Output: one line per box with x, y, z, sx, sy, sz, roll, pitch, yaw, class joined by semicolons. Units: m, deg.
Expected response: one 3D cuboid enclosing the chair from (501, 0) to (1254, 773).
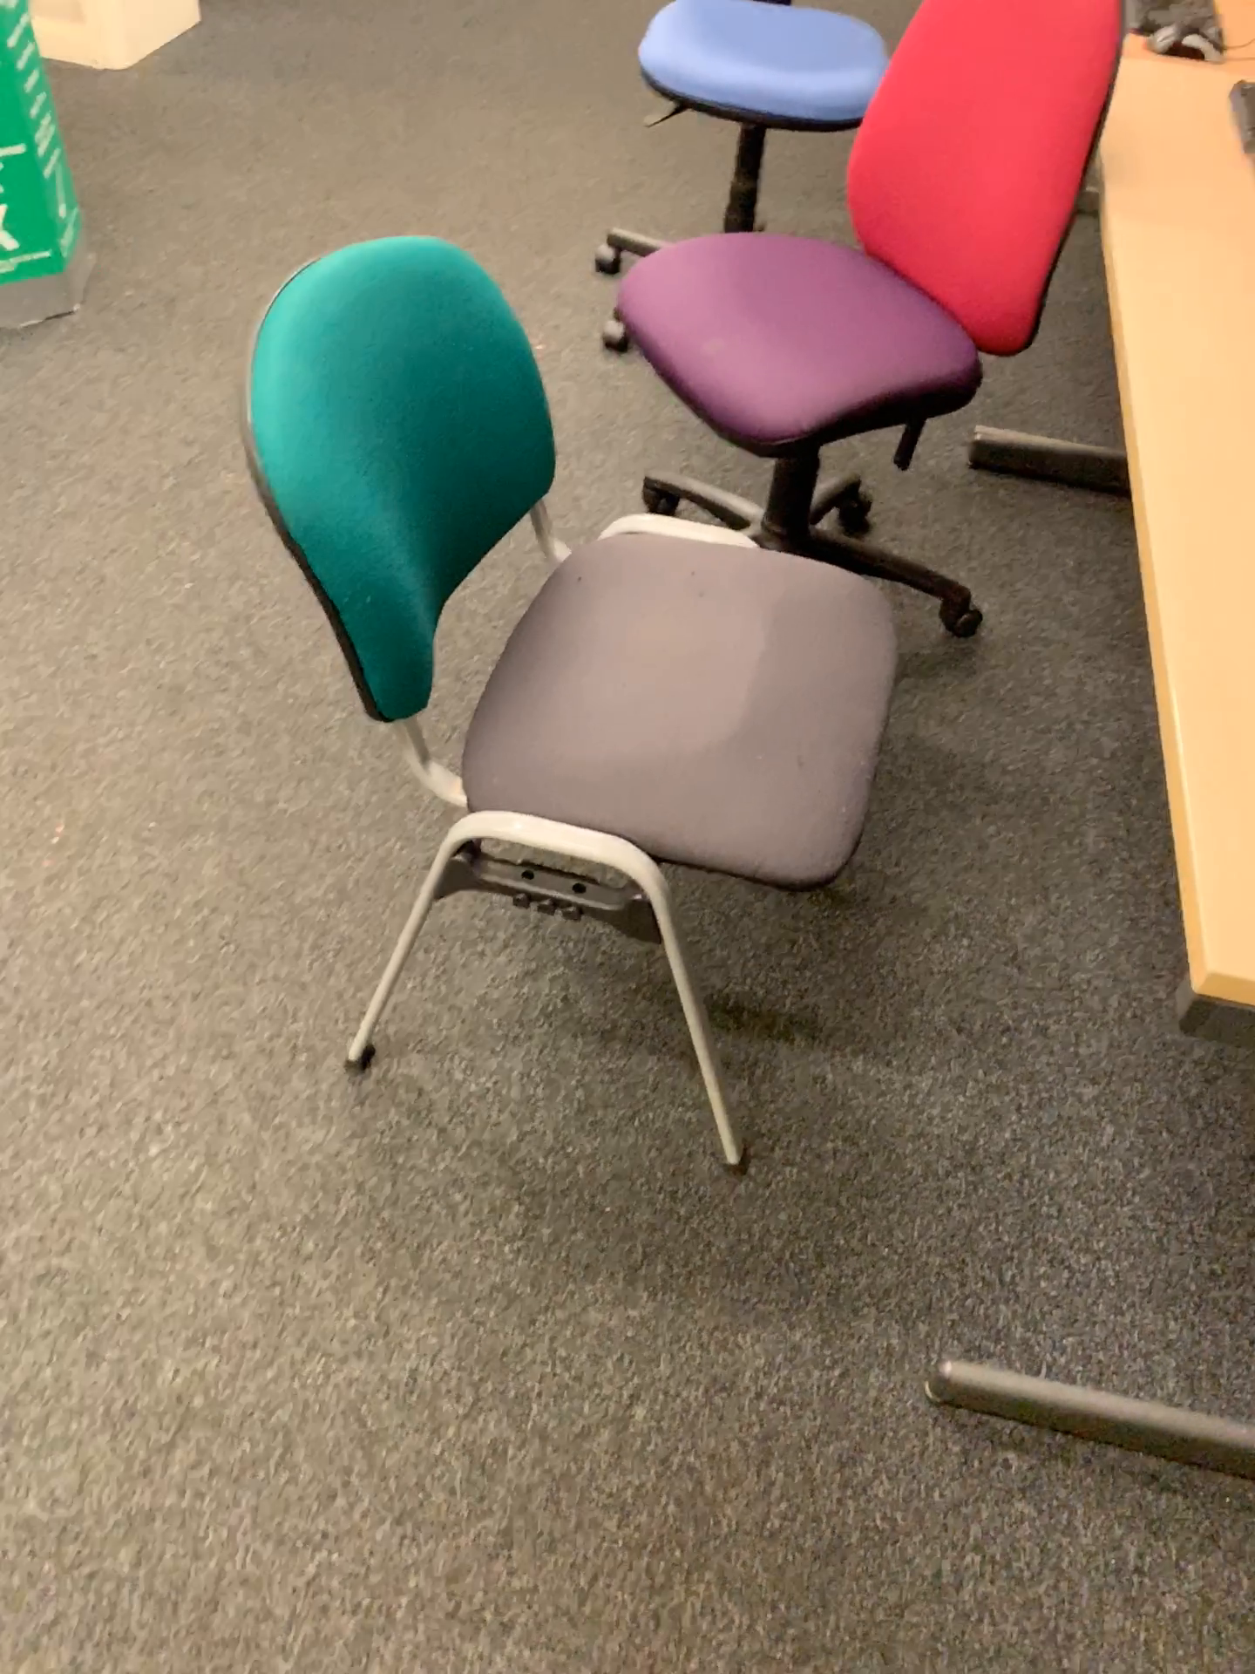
0.280;-0.705;1.746;0.670;0.860;0.656;-20;53;-24;chair

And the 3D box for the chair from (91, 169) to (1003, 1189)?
-0.042;-0.143;1.288;0.598;0.721;0.557;14;47;6;chair
